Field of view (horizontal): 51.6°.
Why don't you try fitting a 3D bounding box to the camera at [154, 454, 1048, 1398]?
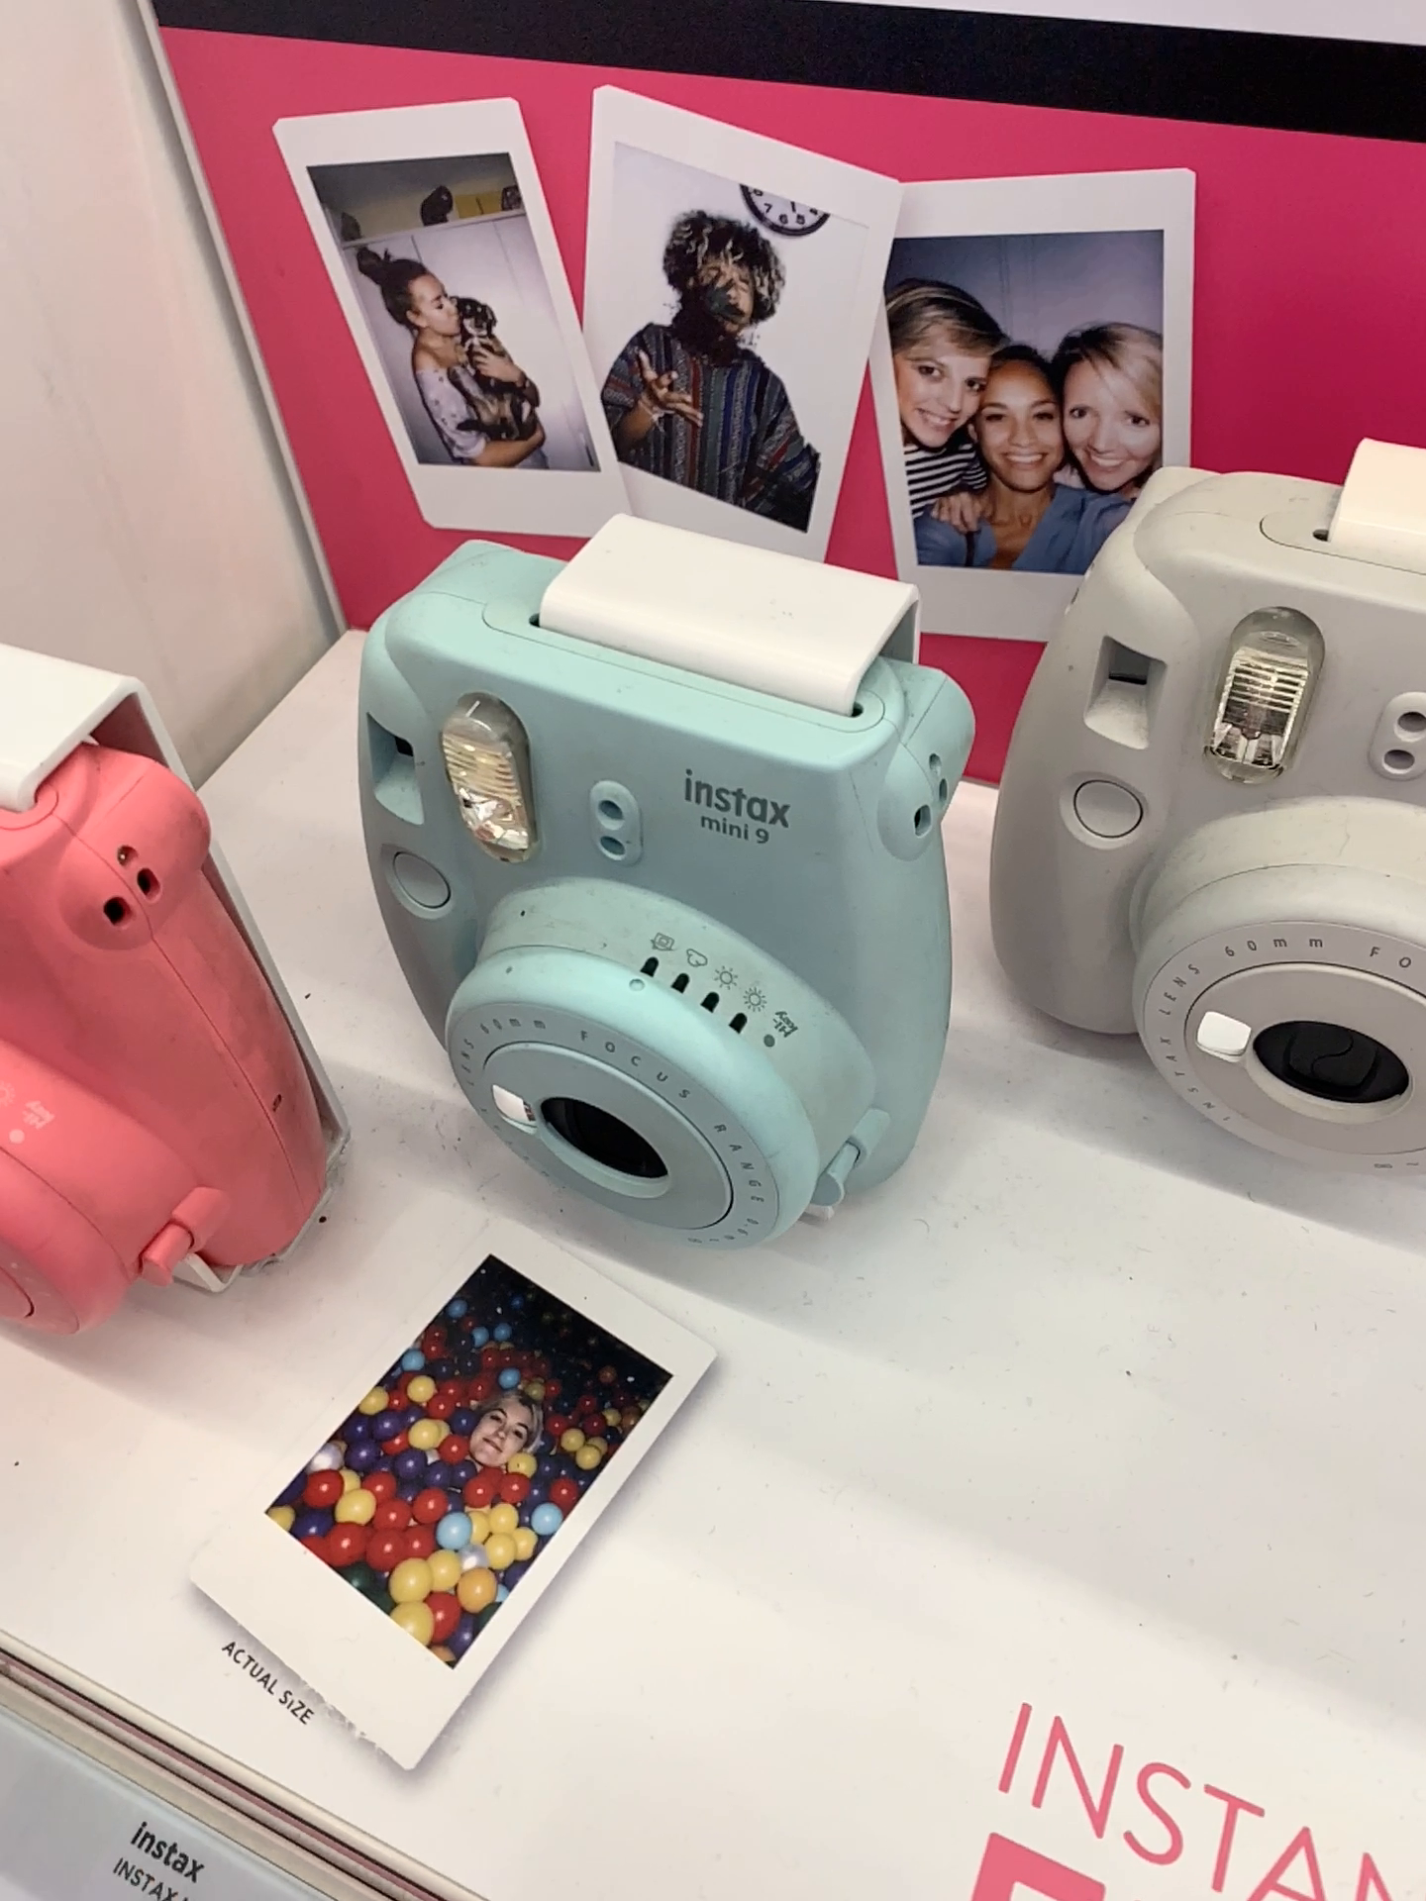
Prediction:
[{"bbox_3d":[-0.012,-0.001,0.263,0.110,0.129,0.070,20,54,21],"label":"camera"}]
